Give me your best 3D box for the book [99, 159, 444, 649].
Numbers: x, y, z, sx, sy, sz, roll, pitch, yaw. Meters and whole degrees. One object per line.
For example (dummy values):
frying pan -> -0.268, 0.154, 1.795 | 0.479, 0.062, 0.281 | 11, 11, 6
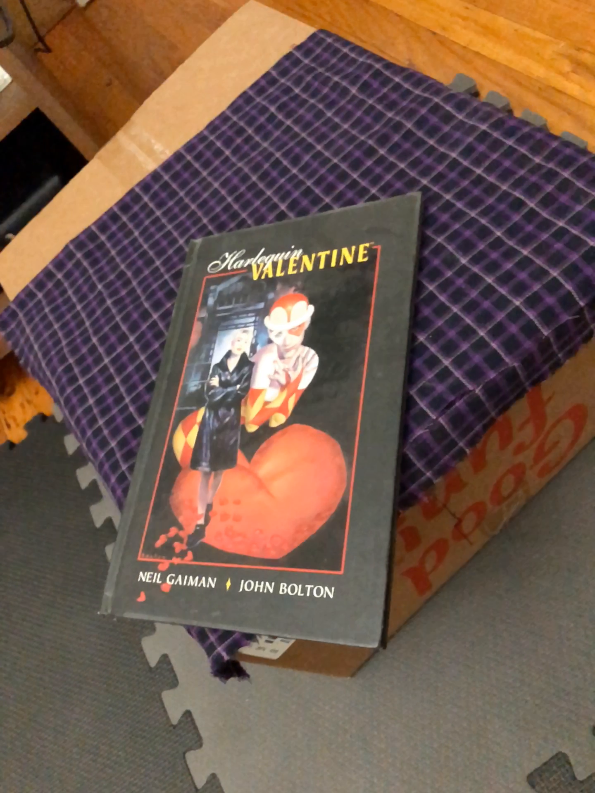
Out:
book -> -0.010, -0.008, 0.396 | 0.180, 0.020, 0.281 | -5, 63, 27
